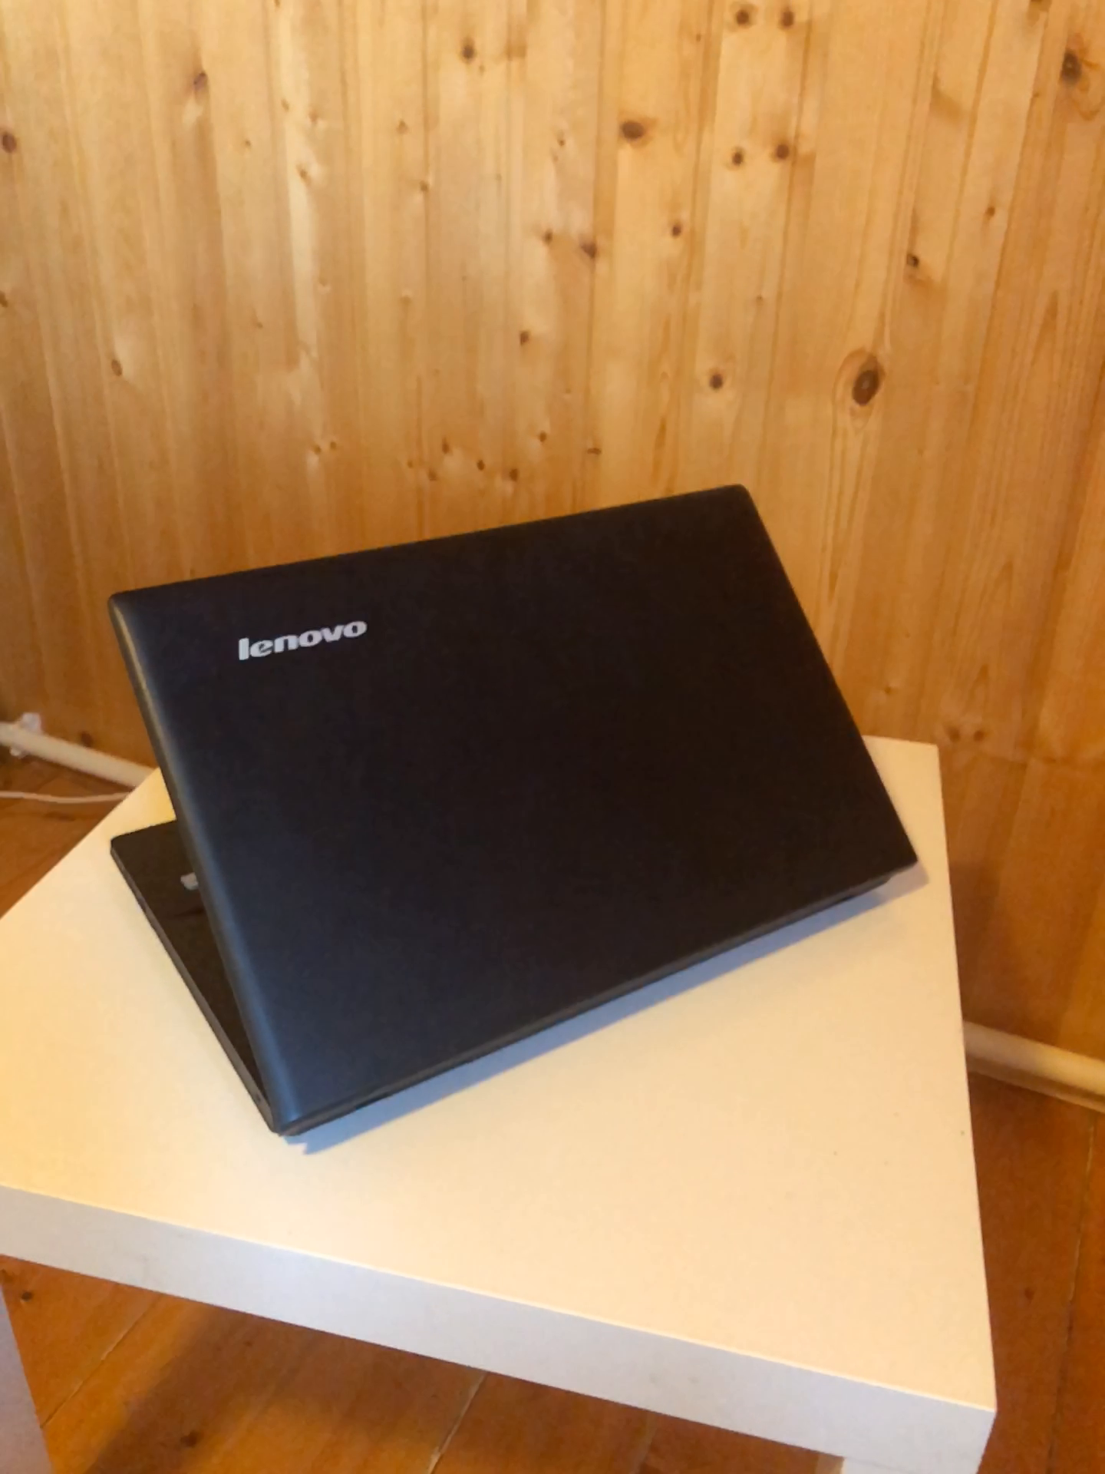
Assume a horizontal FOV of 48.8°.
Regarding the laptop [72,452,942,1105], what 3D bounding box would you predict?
[{"bbox_3d":[-0.029,-0.016,0.697,0.389,0.179,0.261,-16,33,-29],"label":"laptop"}]
